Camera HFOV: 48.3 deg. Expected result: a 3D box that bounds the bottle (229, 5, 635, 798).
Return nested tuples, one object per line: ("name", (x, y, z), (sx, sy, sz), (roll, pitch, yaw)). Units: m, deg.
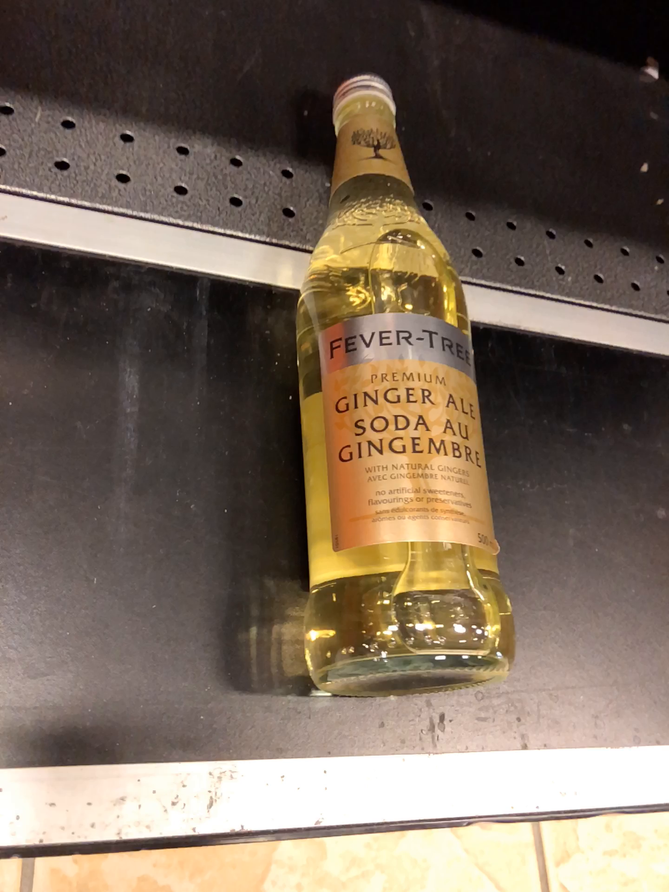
("bottle", (0.016, -0.024, 0.284), (0.090, 0.090, 0.280), (7, 62, -19))
